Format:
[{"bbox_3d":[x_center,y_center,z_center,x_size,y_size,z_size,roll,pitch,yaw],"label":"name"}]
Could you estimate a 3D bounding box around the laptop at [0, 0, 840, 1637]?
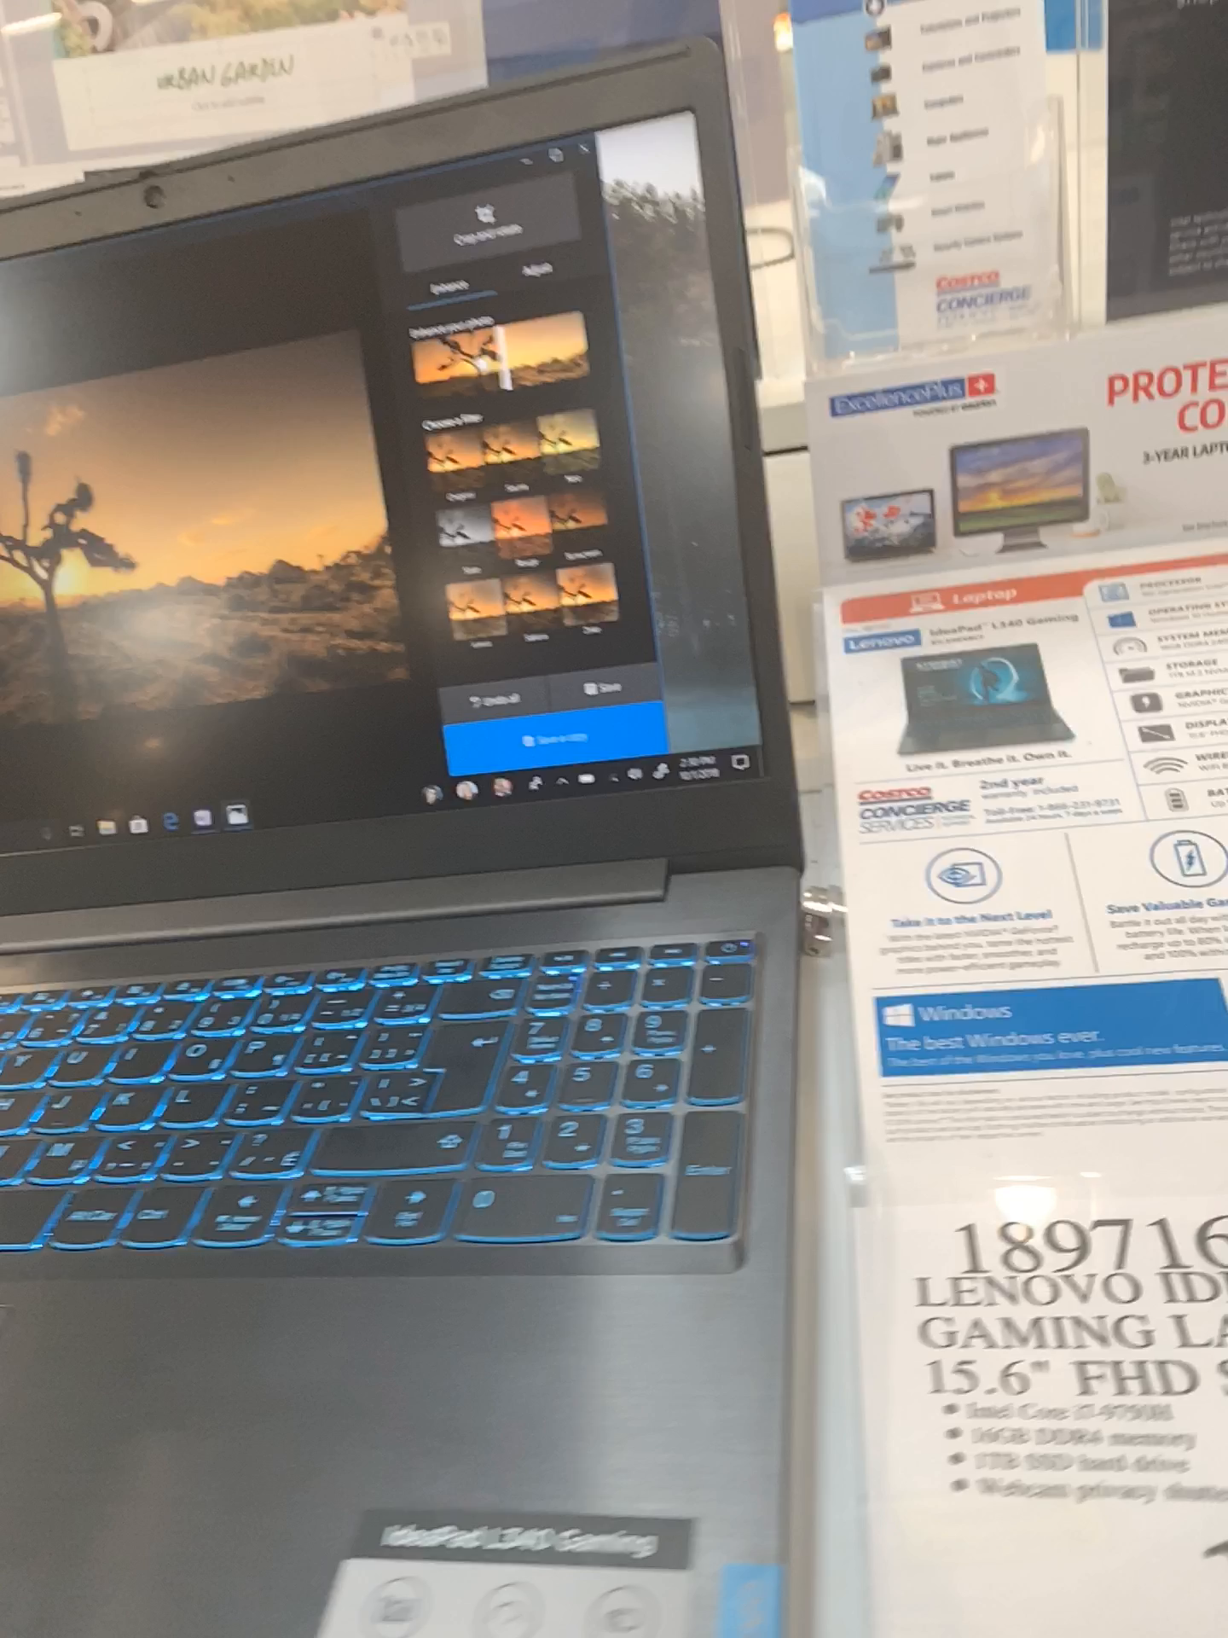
[{"bbox_3d":[-0.131,-0.025,0.297,0.340,0.214,0.330,-5,29,12],"label":"laptop"}]
